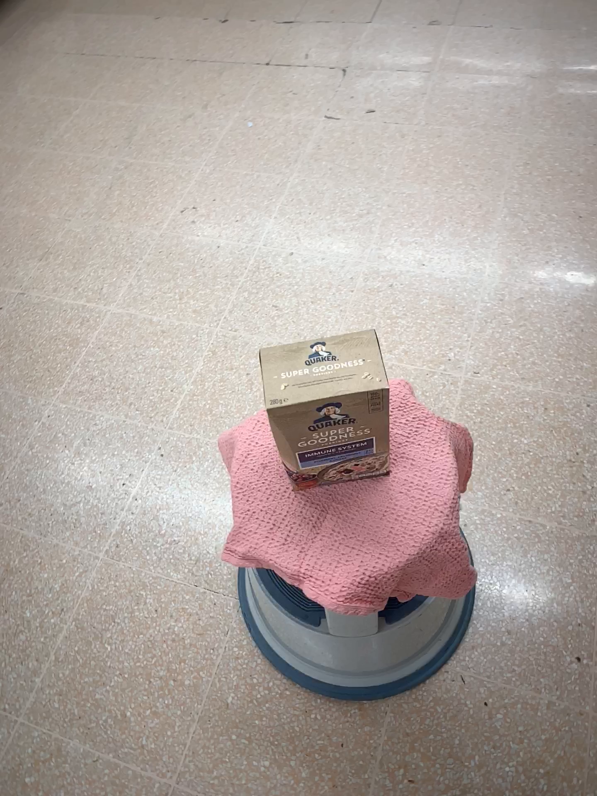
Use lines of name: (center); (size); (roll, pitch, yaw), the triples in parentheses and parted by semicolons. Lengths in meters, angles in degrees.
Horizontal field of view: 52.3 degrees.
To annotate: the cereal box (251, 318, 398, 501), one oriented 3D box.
cereal box: (0.037, 0.023, 0.718); (0.140, 0.209, 0.101); (-10, 56, 2)
